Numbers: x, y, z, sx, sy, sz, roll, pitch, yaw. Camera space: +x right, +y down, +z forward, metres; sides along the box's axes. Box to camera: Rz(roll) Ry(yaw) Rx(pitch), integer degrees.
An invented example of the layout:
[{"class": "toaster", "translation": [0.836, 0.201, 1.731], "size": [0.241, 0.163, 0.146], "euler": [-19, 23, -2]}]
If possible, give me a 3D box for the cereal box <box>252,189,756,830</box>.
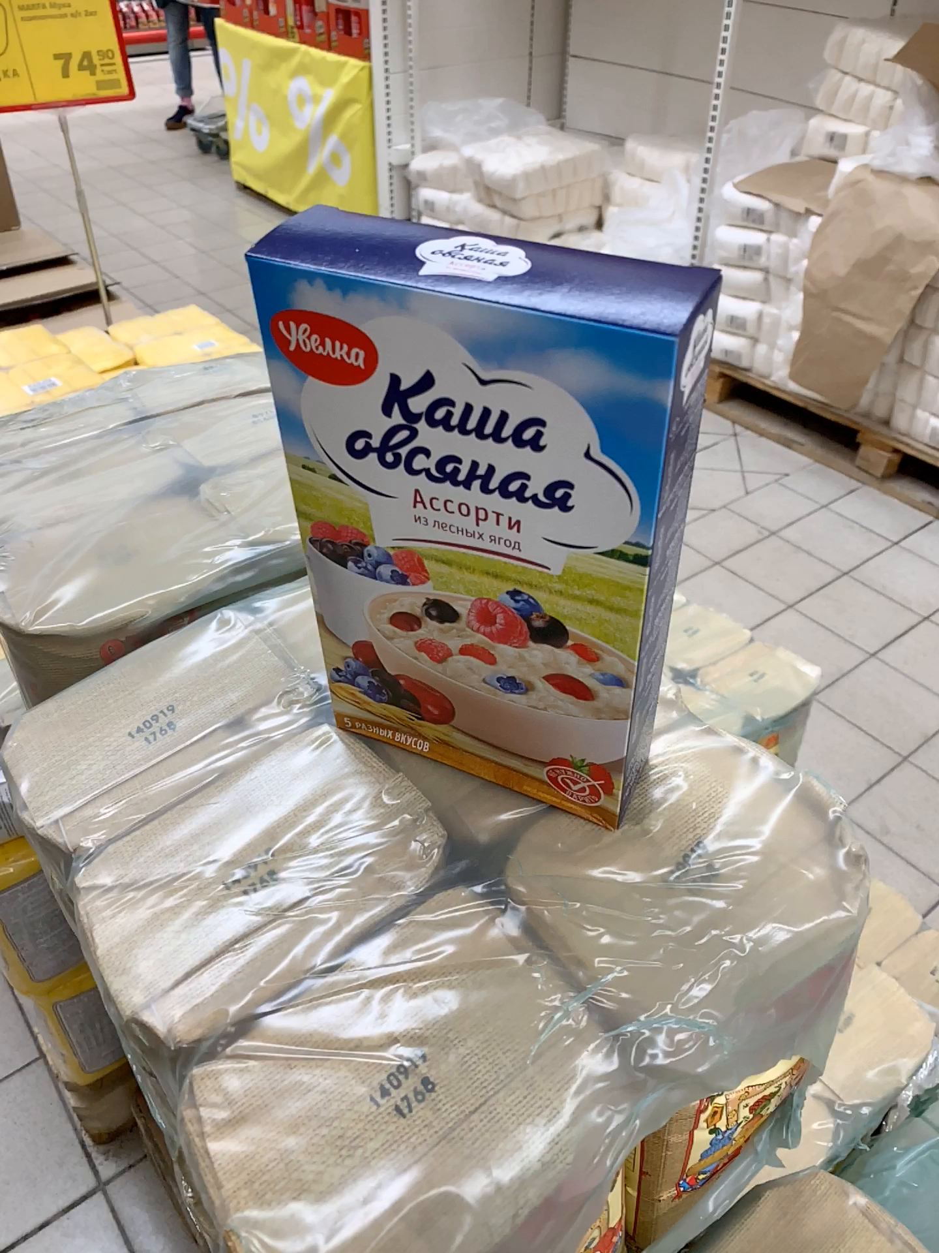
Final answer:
[{"class": "cereal box", "translation": [0.010, -0.031, 0.333], "size": [0.130, 0.198, 0.050], "euler": [17, 45, 19]}]
